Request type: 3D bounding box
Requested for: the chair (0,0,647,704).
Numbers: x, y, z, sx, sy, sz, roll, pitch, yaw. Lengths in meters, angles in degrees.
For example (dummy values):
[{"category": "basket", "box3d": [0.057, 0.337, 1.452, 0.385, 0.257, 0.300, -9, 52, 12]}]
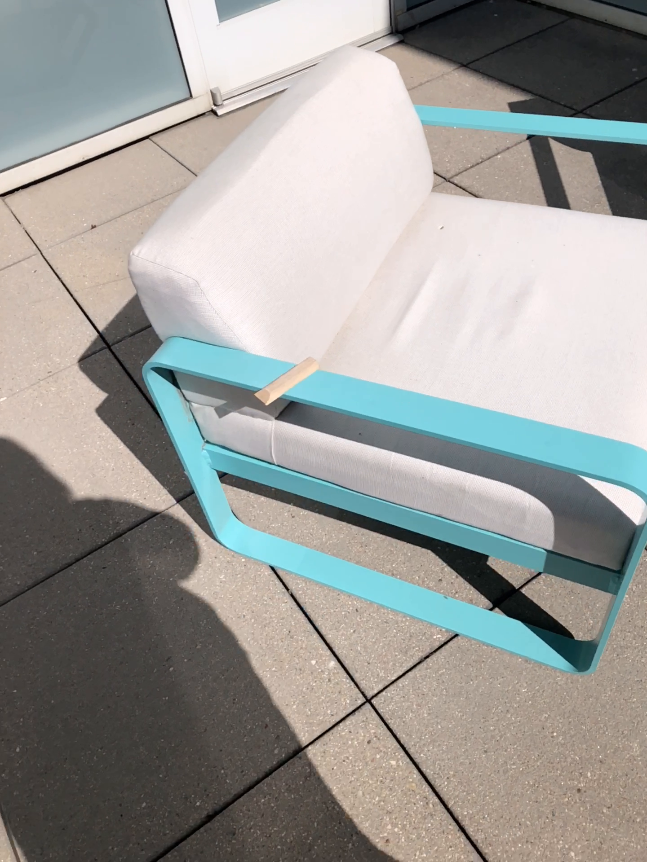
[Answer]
[{"category": "chair", "box3d": [0.186, -0.227, 1.284, 0.871, 0.767, 0.902, 13, 52, 20]}]
